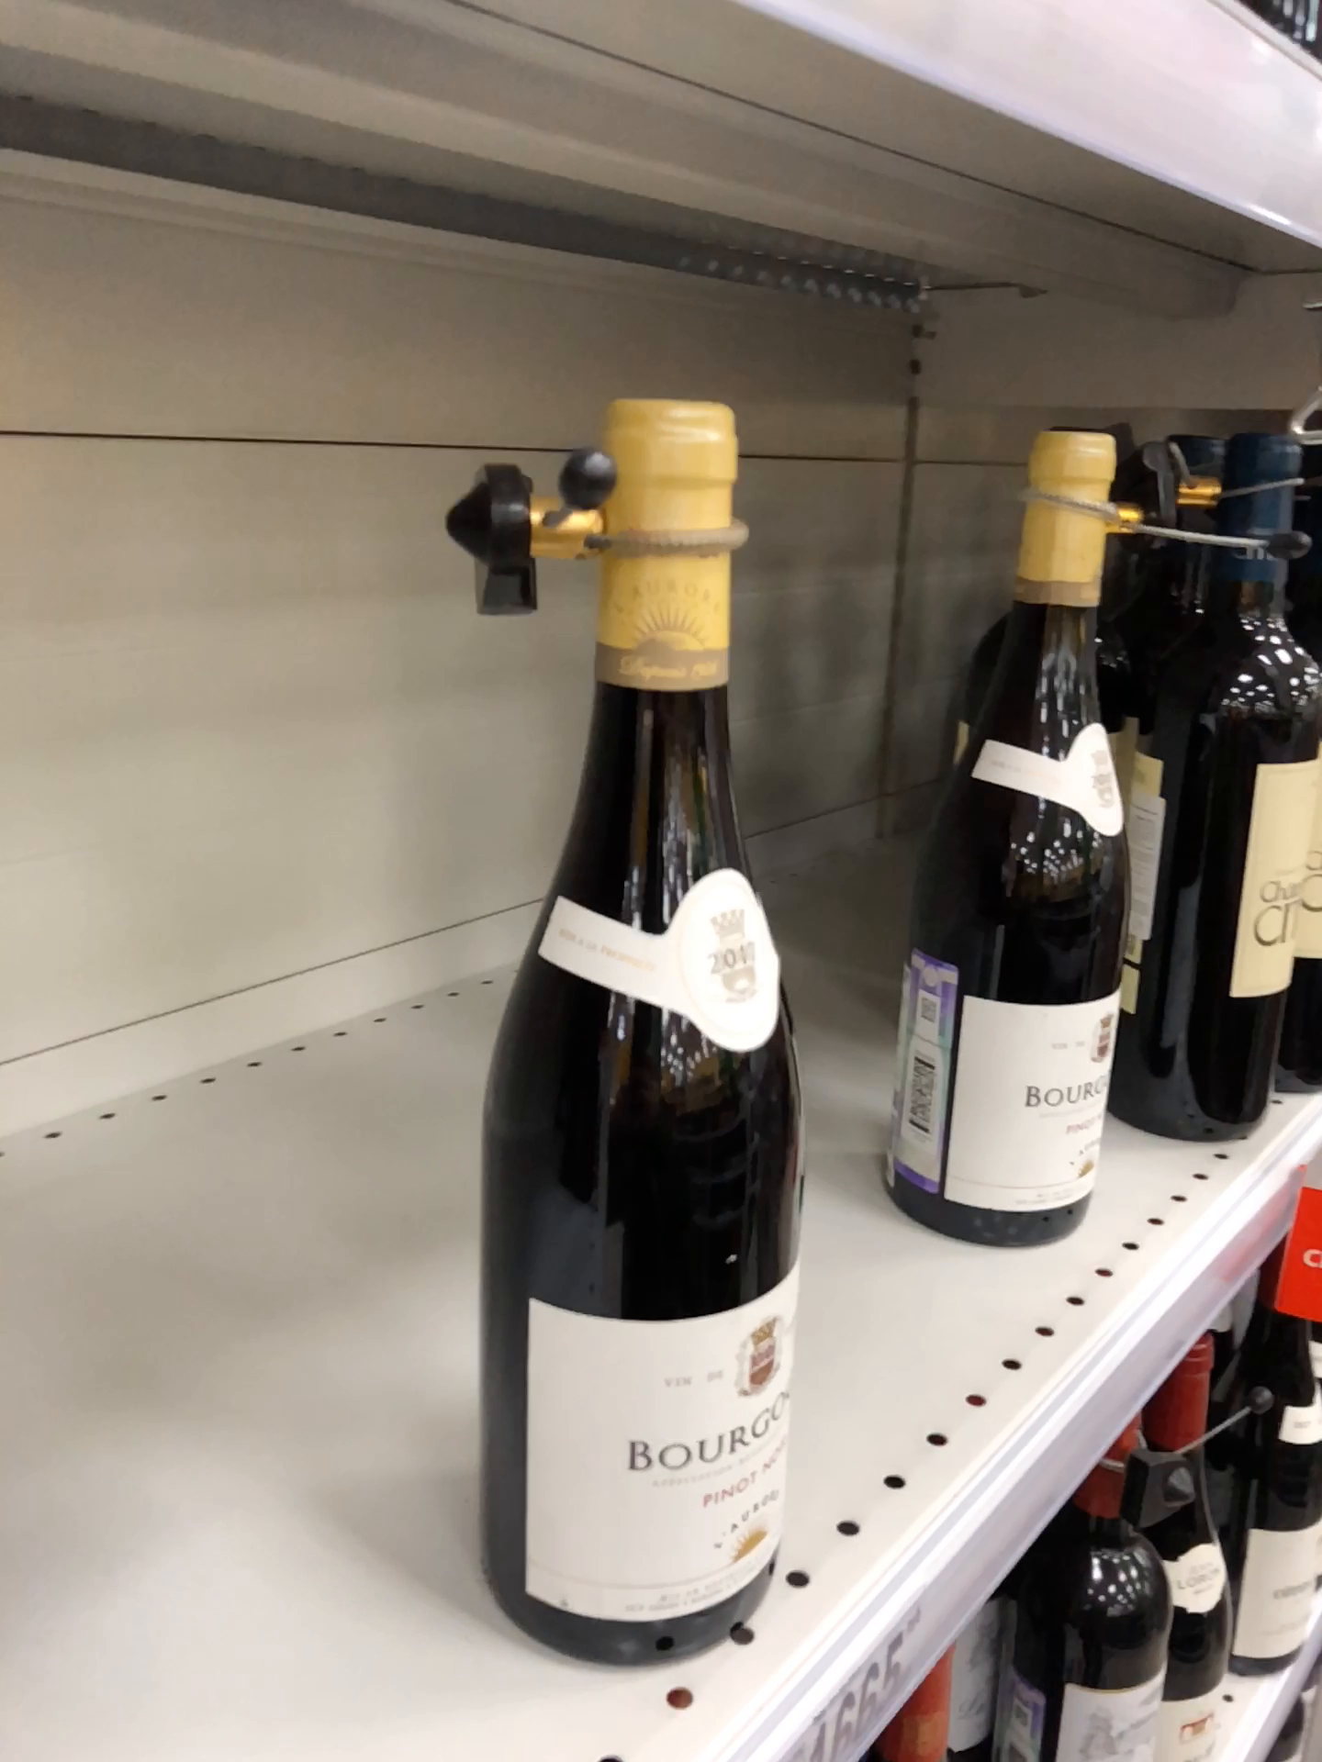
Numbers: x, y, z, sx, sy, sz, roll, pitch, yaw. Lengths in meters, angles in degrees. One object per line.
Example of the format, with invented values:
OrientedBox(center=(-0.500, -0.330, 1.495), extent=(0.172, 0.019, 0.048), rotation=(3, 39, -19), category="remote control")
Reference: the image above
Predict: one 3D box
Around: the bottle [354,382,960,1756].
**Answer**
OrientedBox(center=(-0.005, 0.037, 0.343), extent=(0.090, 0.289, 0.090), rotation=(2, 16, -1), category="bottle")
